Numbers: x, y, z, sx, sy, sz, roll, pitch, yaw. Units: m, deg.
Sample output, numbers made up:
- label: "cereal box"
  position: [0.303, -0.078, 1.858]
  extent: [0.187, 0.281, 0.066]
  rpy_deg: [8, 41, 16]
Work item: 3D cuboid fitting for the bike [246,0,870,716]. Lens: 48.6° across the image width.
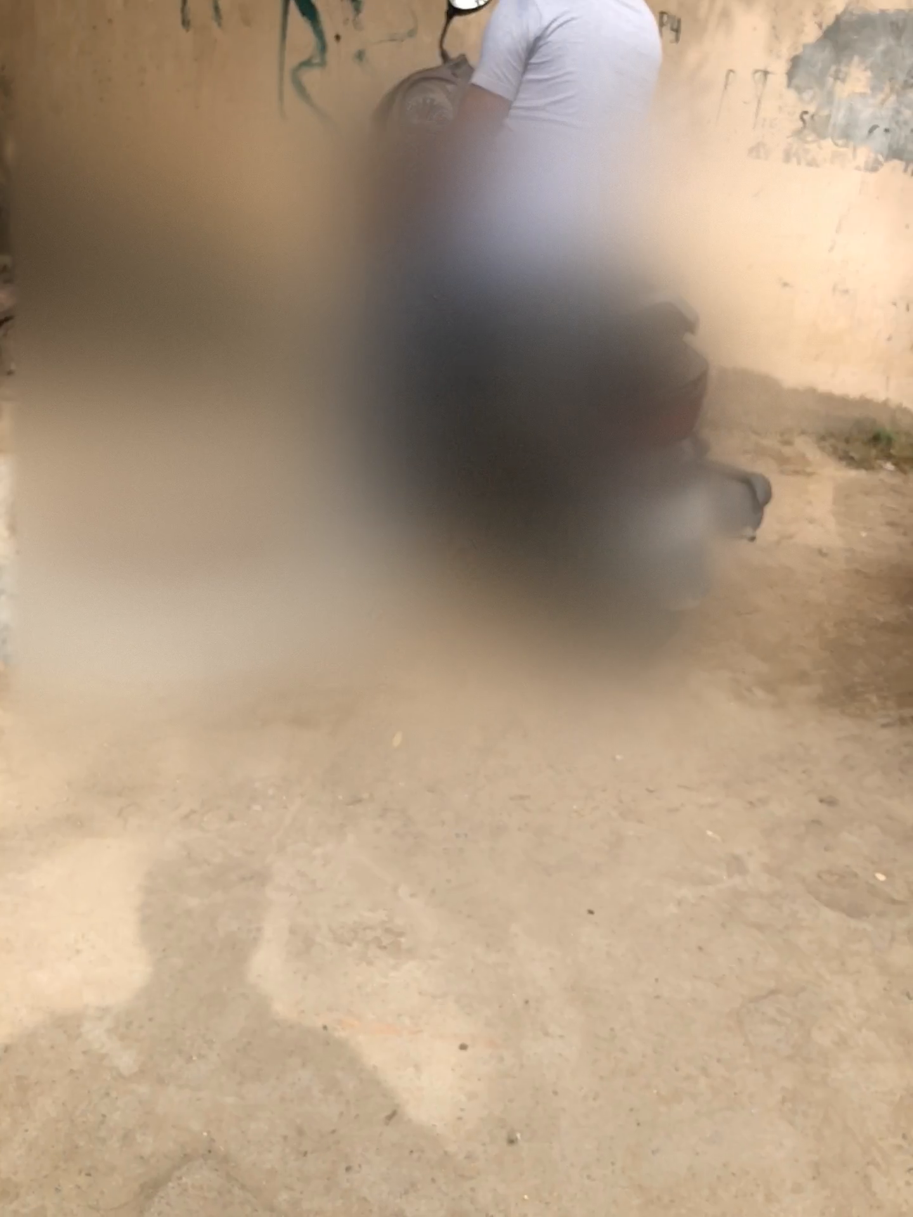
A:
- label: "bike"
  position: [0.023, -0.774, 2.567]
  extent: [0.654, 1.228, 1.656]
  rpy_deg: [-7, 32, -26]
